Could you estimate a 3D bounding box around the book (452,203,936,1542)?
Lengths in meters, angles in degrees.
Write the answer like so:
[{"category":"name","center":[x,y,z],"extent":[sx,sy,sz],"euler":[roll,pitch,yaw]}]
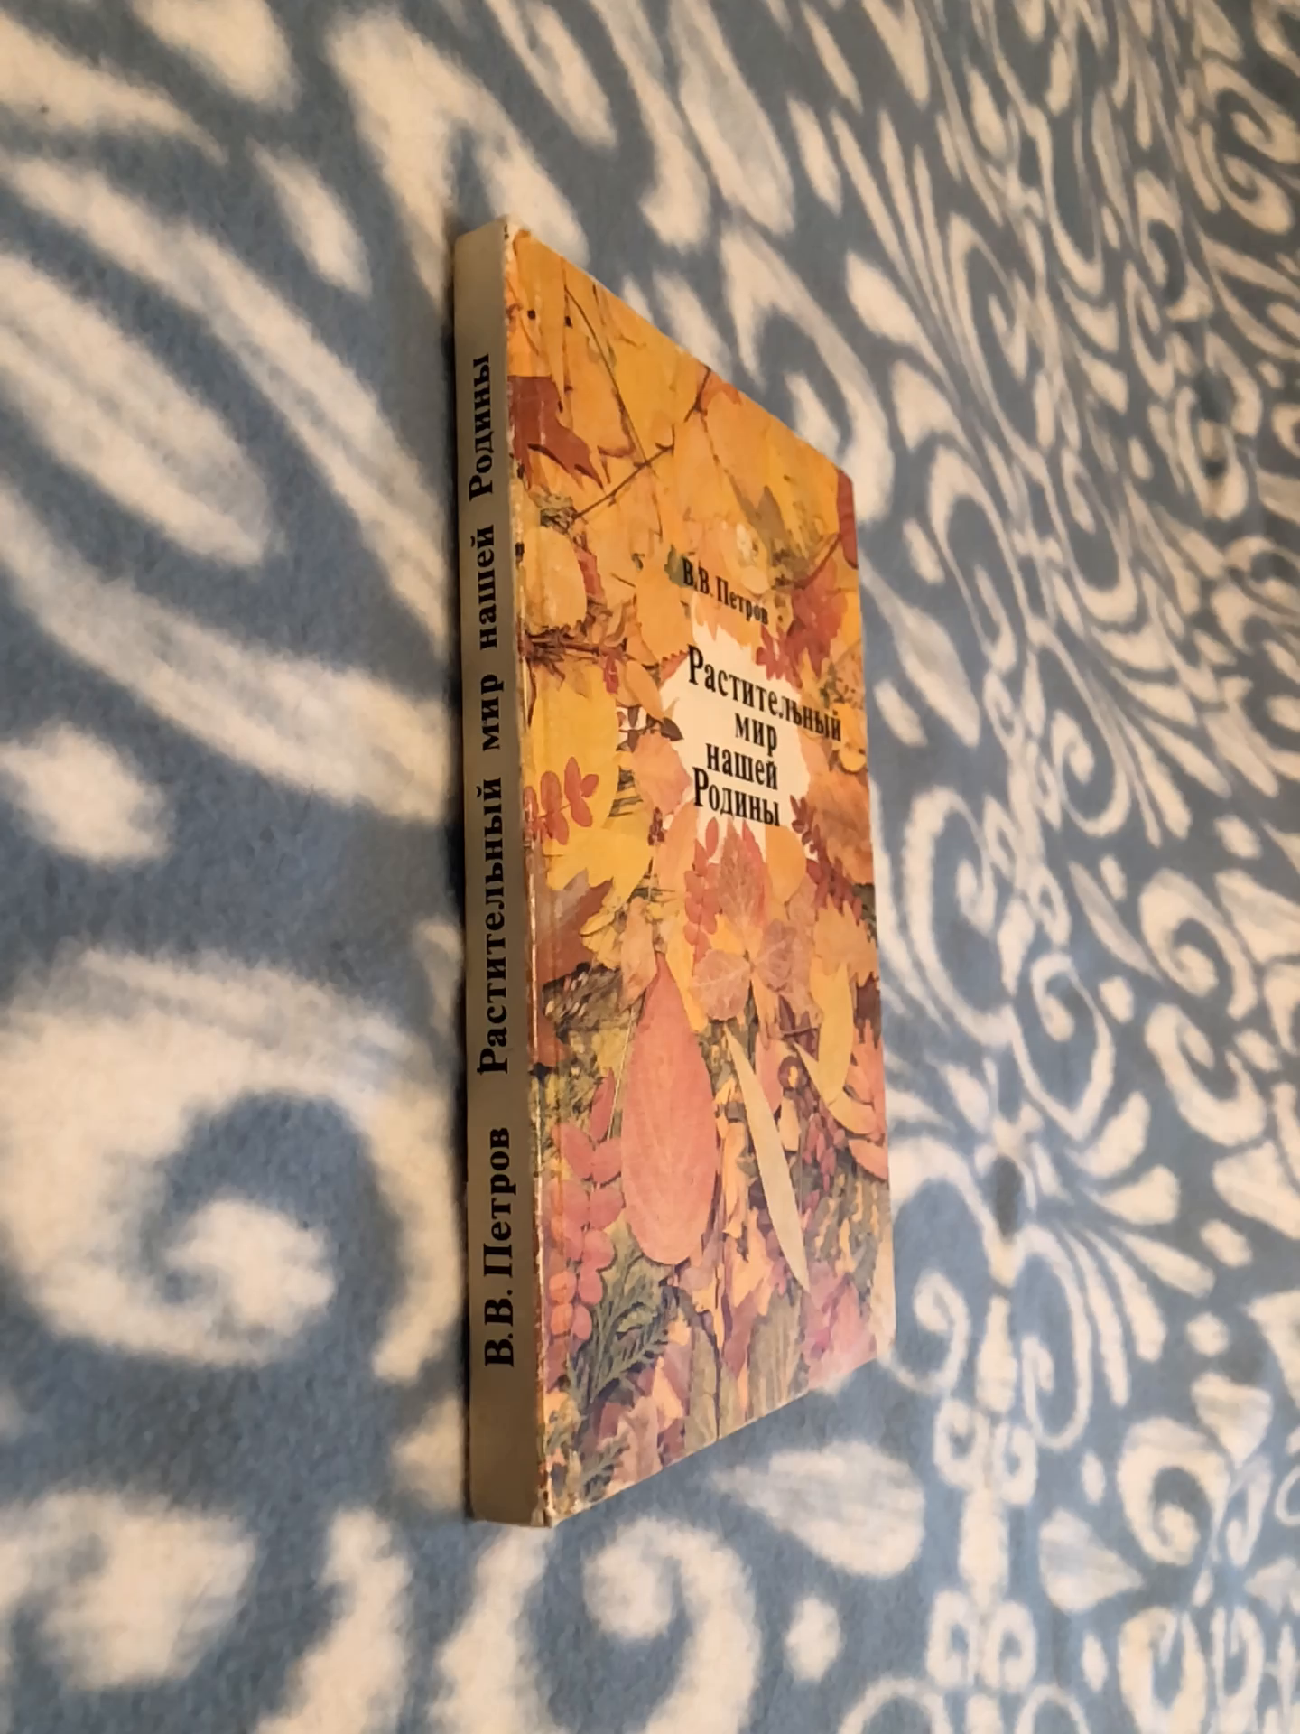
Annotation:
[{"category":"book","center":[0.017,0.003,0.295],"extent":[0.157,0.020,0.208],"euler":[11,76,-60]}]
